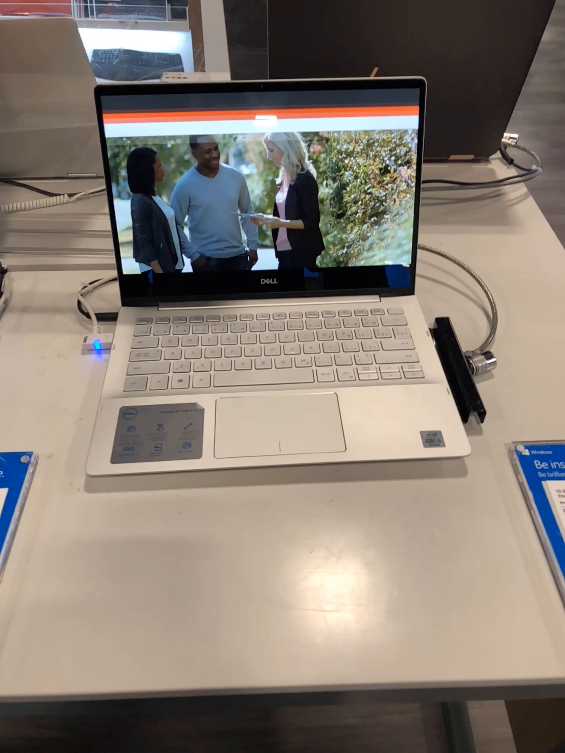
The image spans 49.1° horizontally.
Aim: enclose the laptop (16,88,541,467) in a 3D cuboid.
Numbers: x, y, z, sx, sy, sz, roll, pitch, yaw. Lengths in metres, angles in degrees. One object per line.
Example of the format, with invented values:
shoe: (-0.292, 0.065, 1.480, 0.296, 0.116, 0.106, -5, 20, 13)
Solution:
laptop: (-0.009, -0.091, 0.499, 0.285, 0.186, 0.265, -2, 43, -2)
